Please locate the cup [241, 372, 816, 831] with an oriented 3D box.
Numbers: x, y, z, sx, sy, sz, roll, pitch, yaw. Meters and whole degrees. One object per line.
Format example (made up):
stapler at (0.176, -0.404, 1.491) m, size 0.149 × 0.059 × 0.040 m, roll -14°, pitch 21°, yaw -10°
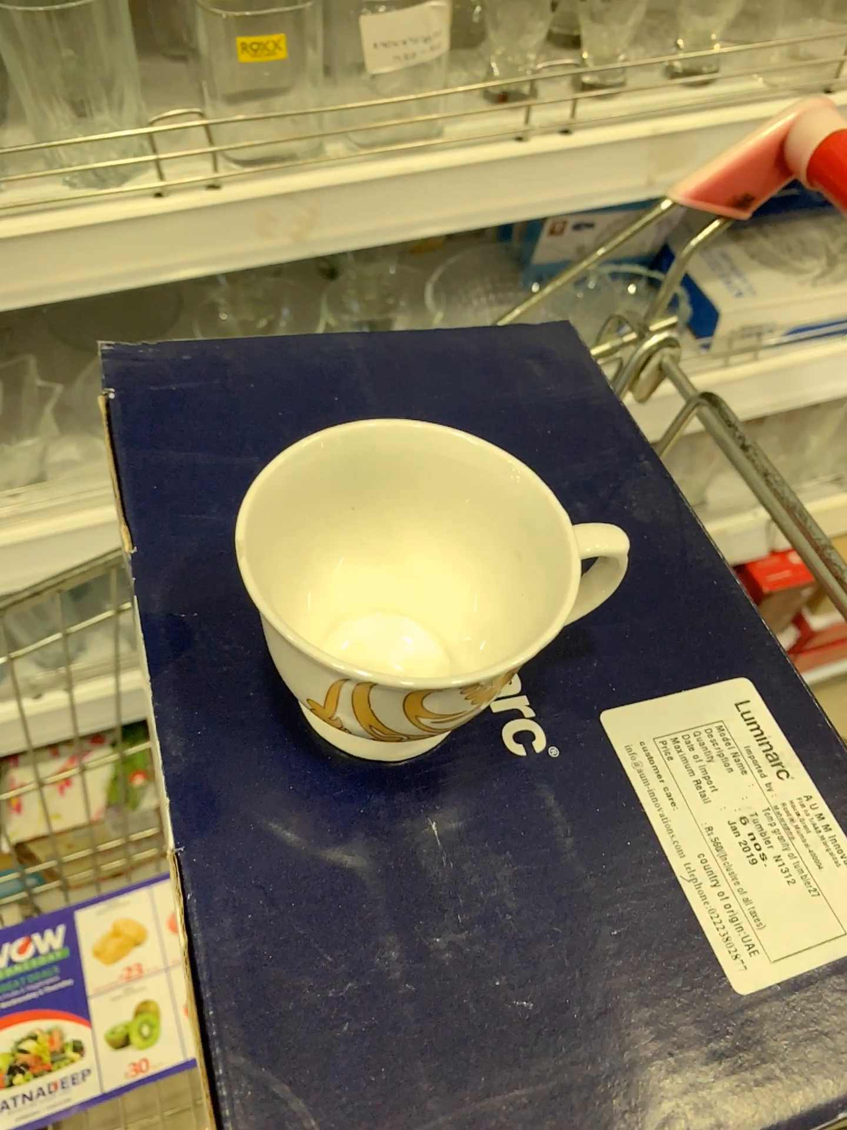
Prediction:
cup at (0.014, 0.004, 0.179) m, size 0.090 × 0.040 × 0.070 m, roll -9°, pitch 54°, yaw -14°
